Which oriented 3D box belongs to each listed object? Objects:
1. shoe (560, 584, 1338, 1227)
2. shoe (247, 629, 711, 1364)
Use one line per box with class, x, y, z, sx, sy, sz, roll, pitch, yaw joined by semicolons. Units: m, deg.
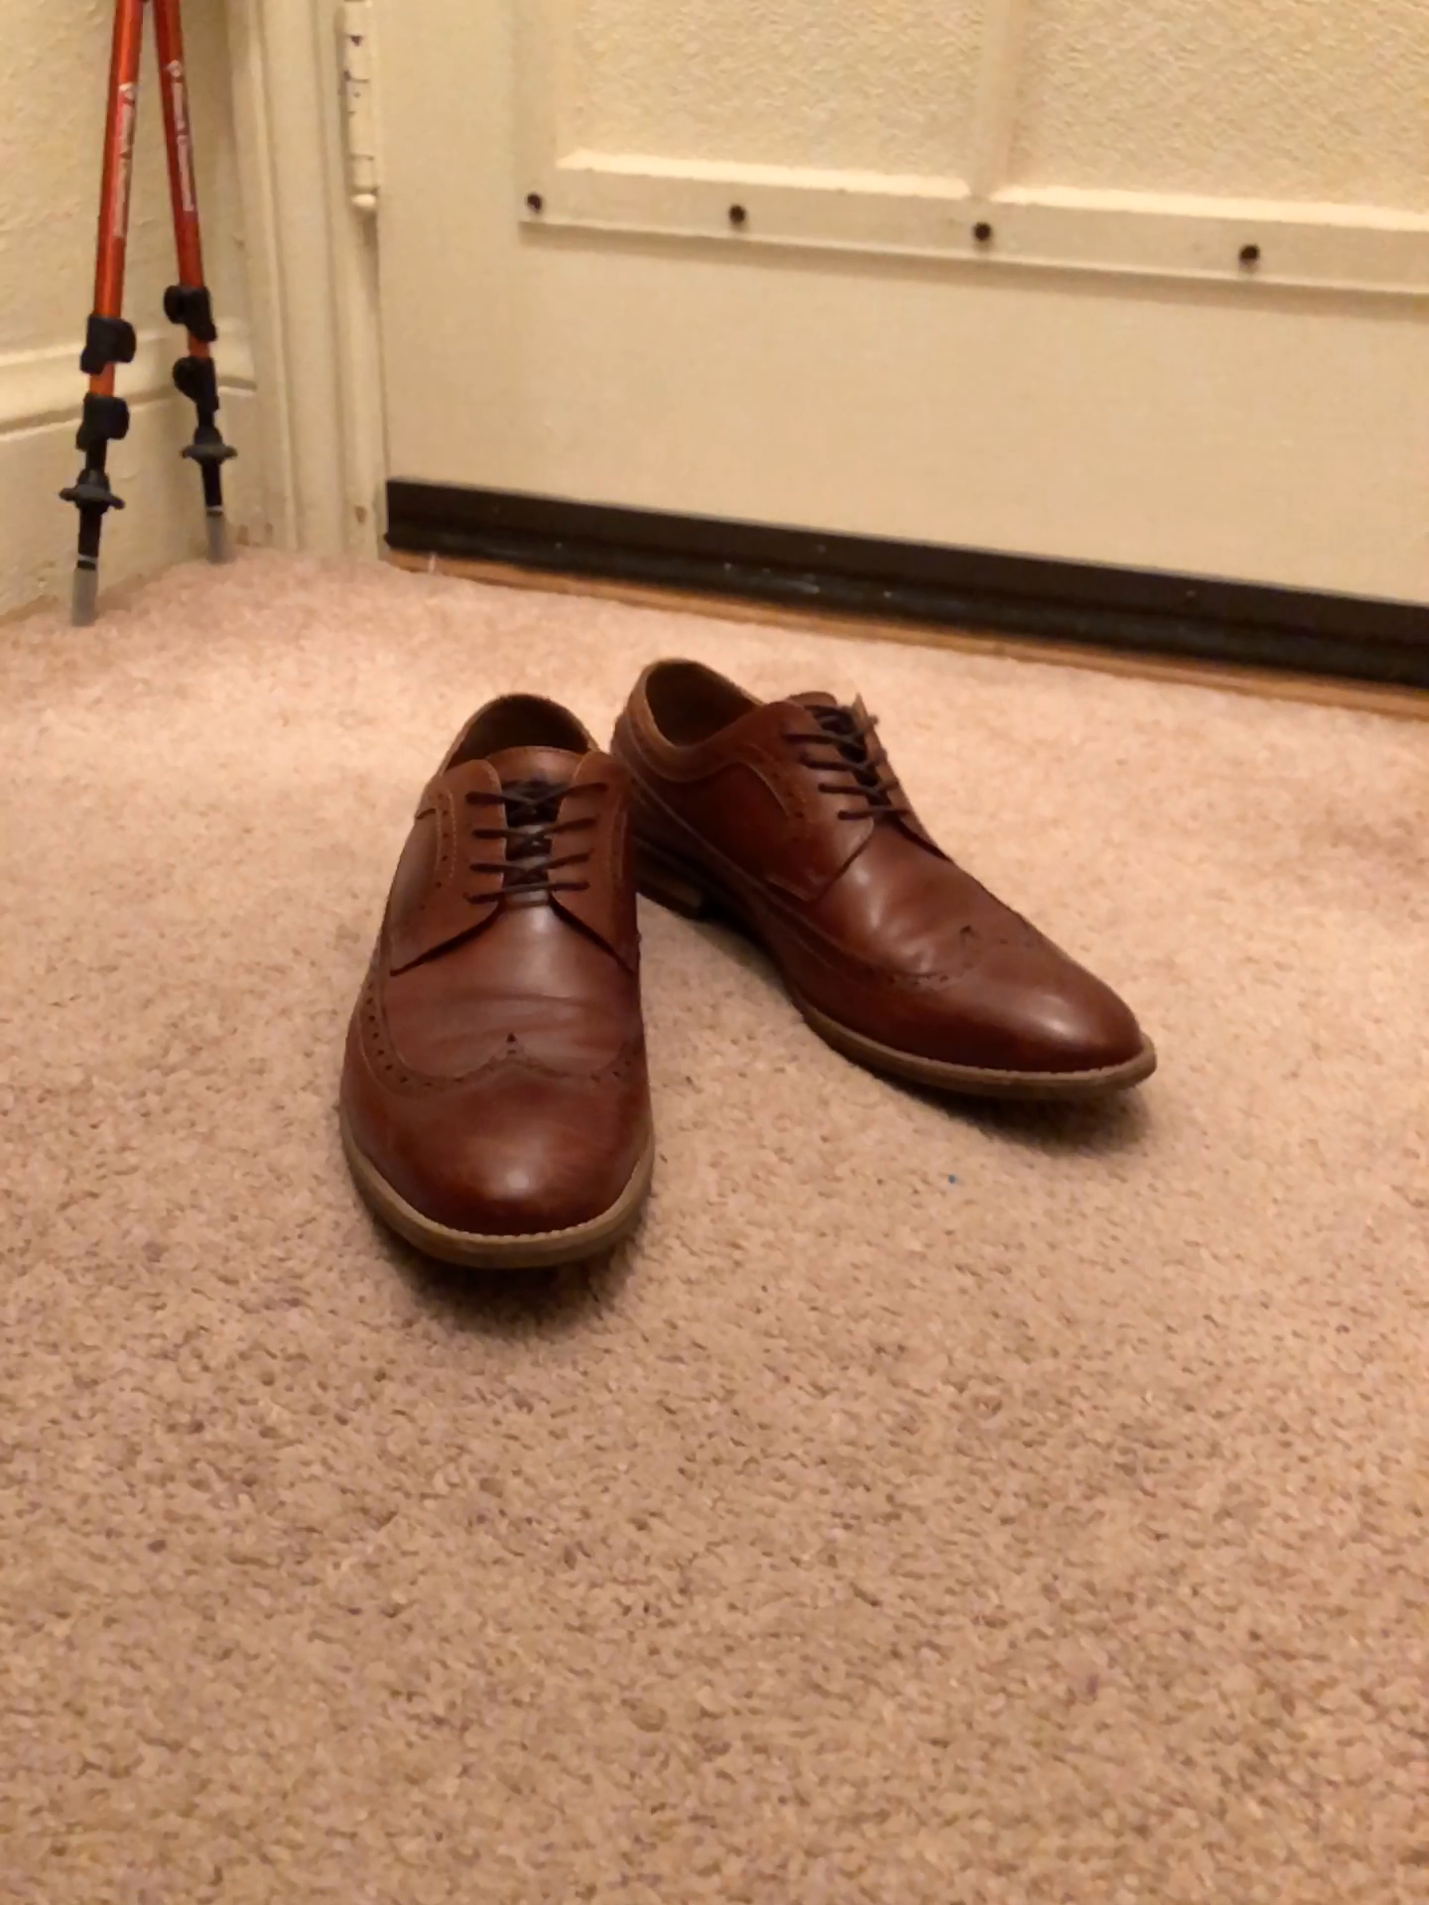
shoe;0.065;-0.042;0.619;0.115;0.114;0.311;-15;34;-30
shoe;-0.075;-0.010;0.558;0.115;0.114;0.312;0;29;-6
